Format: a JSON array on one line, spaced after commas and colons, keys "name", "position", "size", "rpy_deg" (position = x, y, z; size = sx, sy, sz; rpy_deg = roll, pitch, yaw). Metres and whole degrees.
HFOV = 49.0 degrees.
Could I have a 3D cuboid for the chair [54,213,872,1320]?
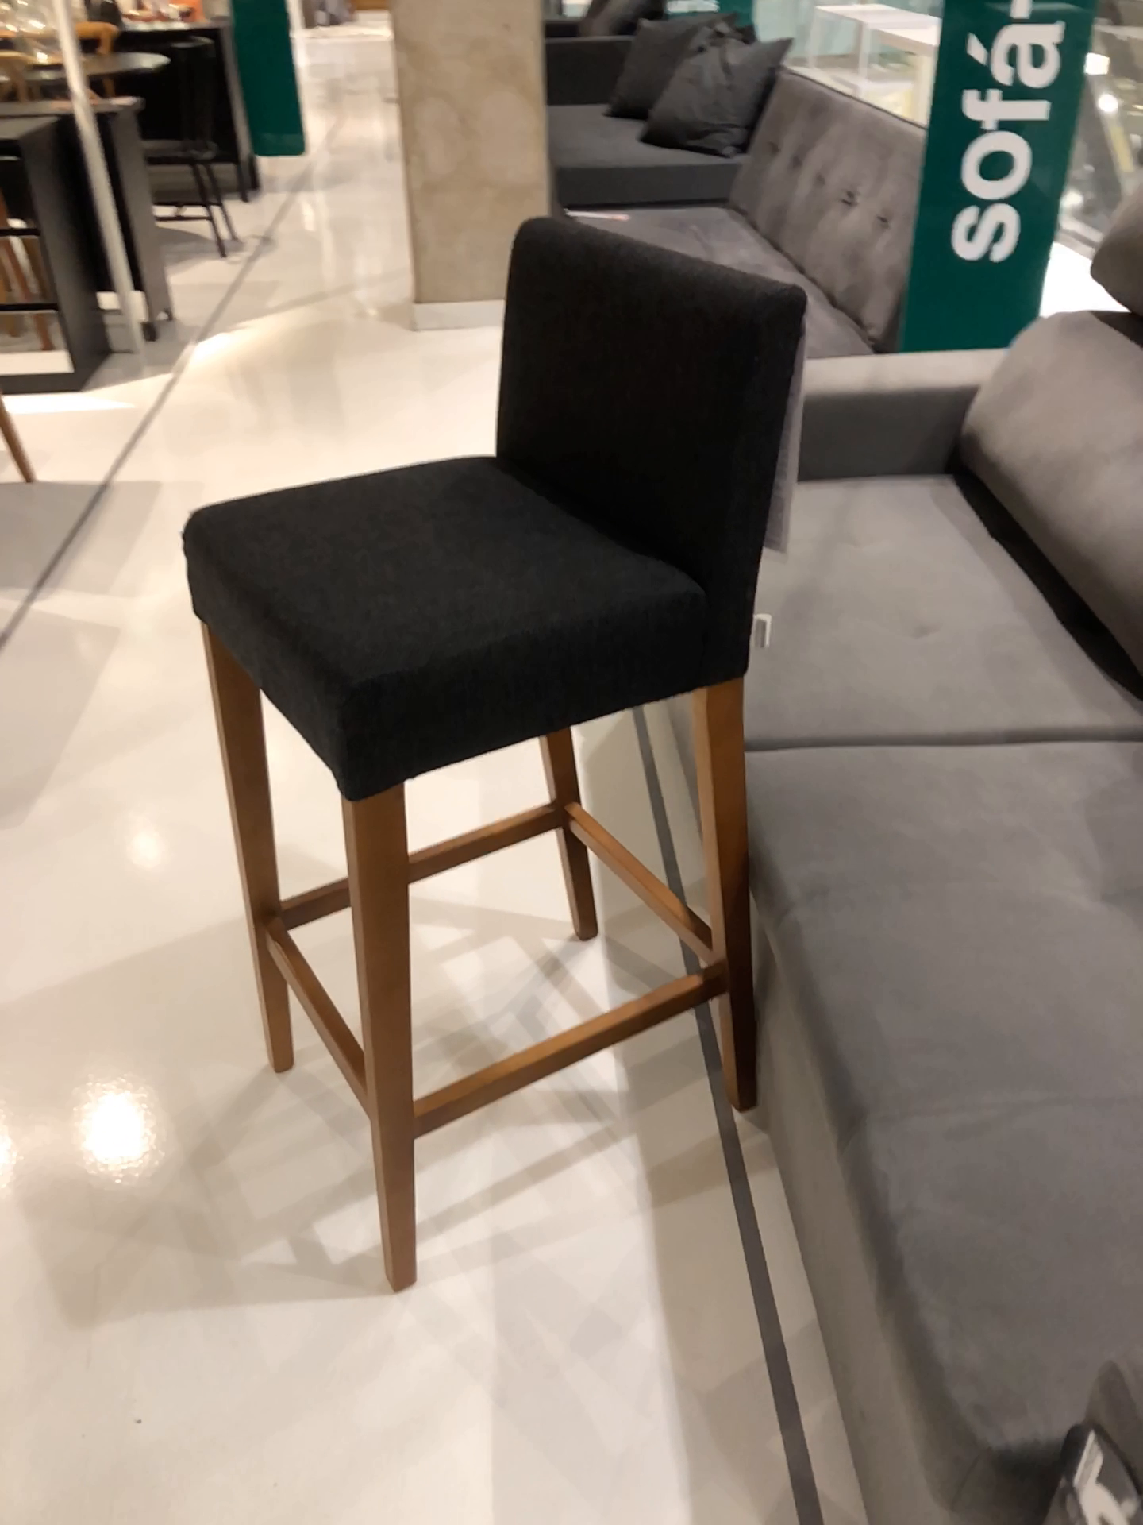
[{"name": "chair", "position": [-0.100, -0.014, 1.359], "size": [0.581, 0.972, 0.453], "rpy_deg": [-18, 35, -26]}]
